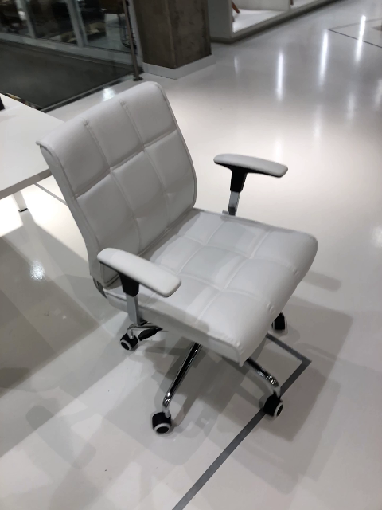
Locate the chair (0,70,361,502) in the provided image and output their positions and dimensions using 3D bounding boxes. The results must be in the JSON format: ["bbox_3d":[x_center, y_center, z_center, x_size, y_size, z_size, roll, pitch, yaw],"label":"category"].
[{"bbox_3d":[-0.023,0.051,1.278,0.722,0.923,0.663,20,47,30],"label":"chair"}]
